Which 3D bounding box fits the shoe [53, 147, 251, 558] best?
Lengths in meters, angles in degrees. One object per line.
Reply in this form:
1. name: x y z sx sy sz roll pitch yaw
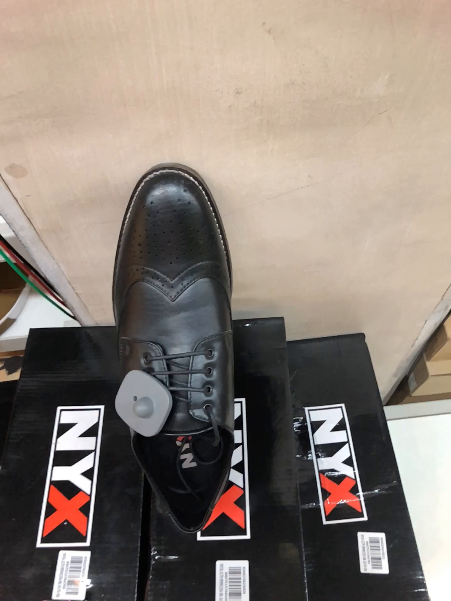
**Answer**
1. shoe: -0.041 0.040 0.390 0.106 0.296 0.107 -3 19 0
